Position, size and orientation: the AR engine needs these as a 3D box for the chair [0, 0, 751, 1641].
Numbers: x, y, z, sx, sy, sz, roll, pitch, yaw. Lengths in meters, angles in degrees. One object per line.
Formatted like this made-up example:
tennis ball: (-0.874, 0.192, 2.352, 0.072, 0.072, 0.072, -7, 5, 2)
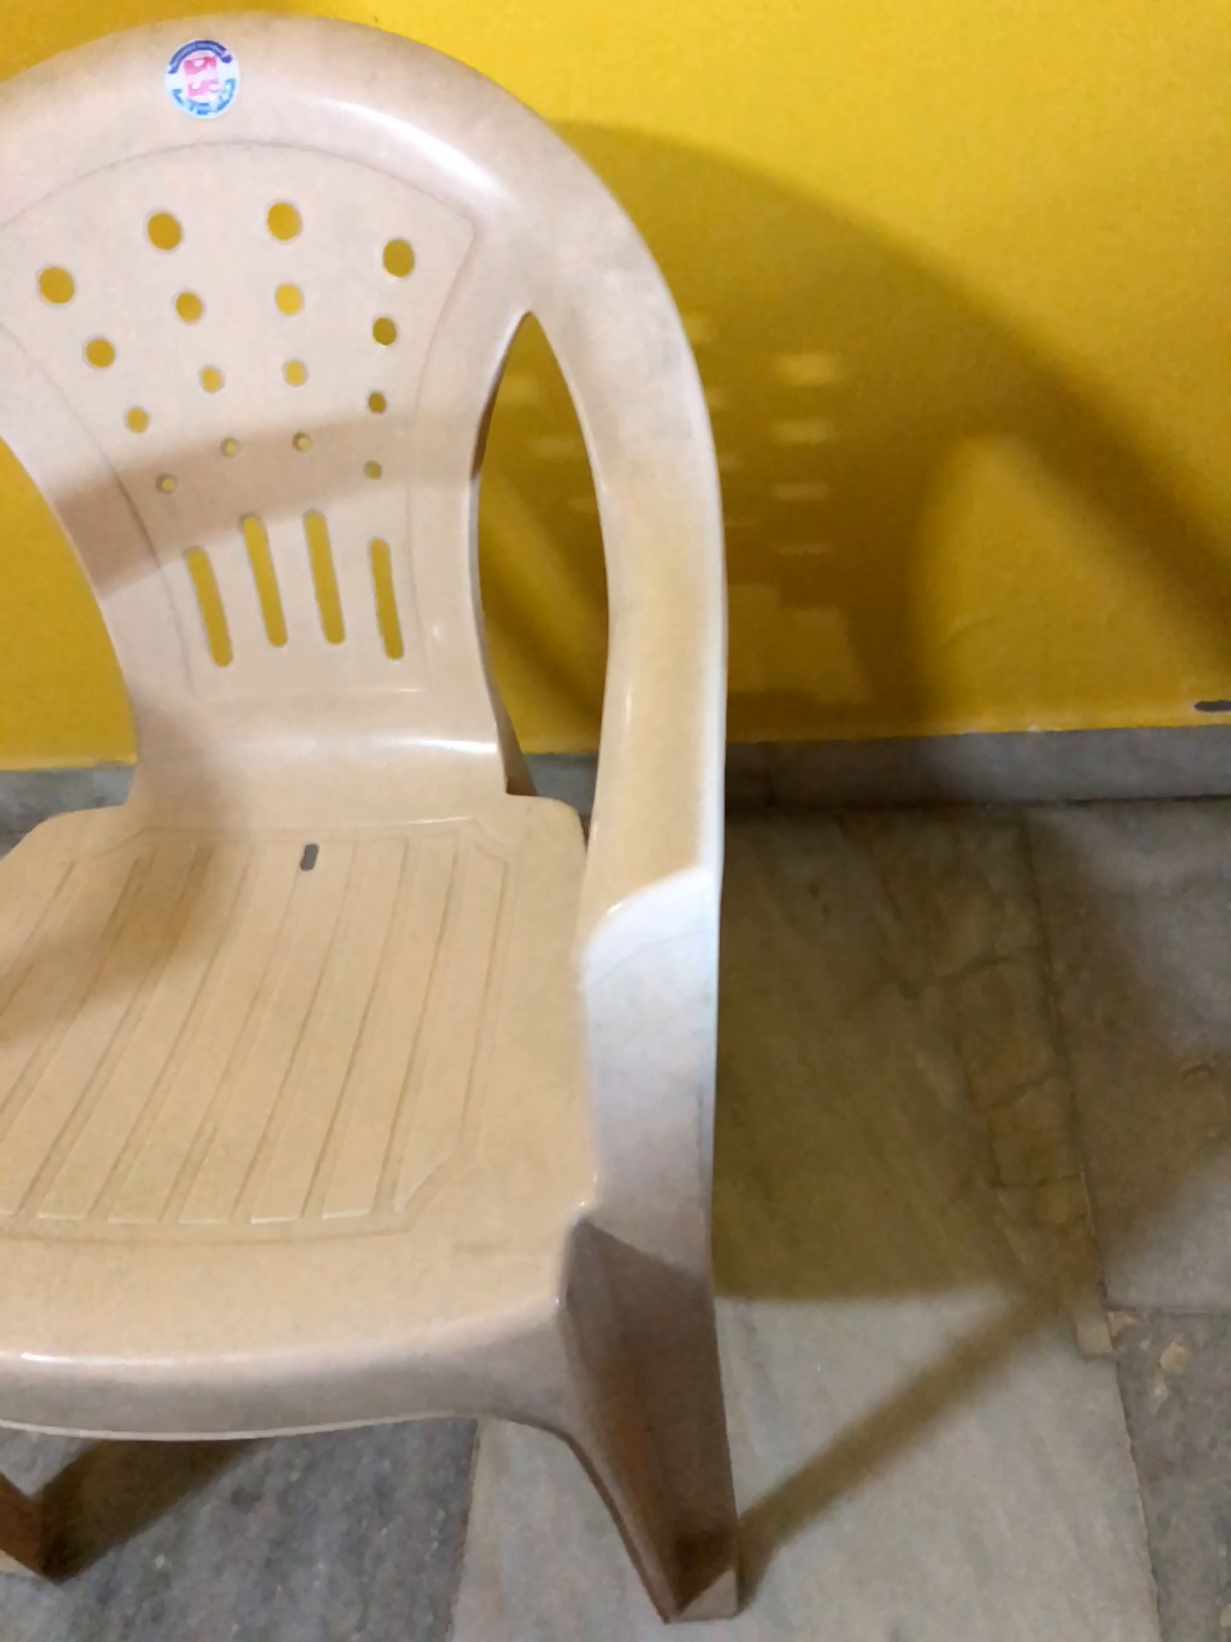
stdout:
chair: (-0.209, 0.044, 0.763, 0.530, 0.785, 0.563, -2, 46, 7)
